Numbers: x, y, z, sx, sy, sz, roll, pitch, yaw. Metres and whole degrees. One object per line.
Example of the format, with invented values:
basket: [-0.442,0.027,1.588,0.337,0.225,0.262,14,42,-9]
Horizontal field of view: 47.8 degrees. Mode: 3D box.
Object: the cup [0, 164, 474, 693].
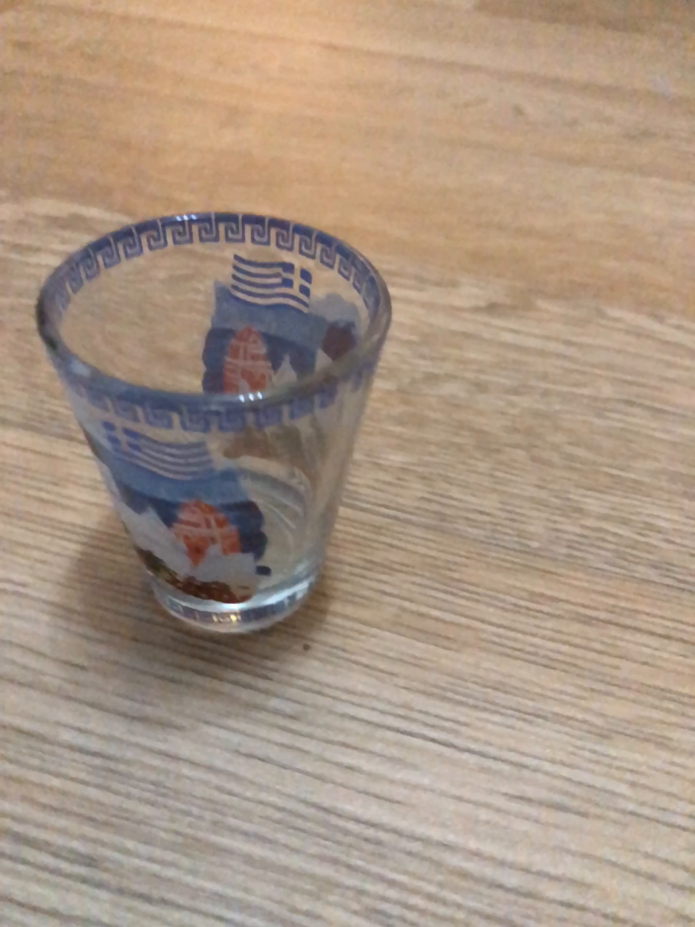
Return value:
cup: [-0.013,-0.006,0.130,0.050,0.060,0.050,2,43,-2]
